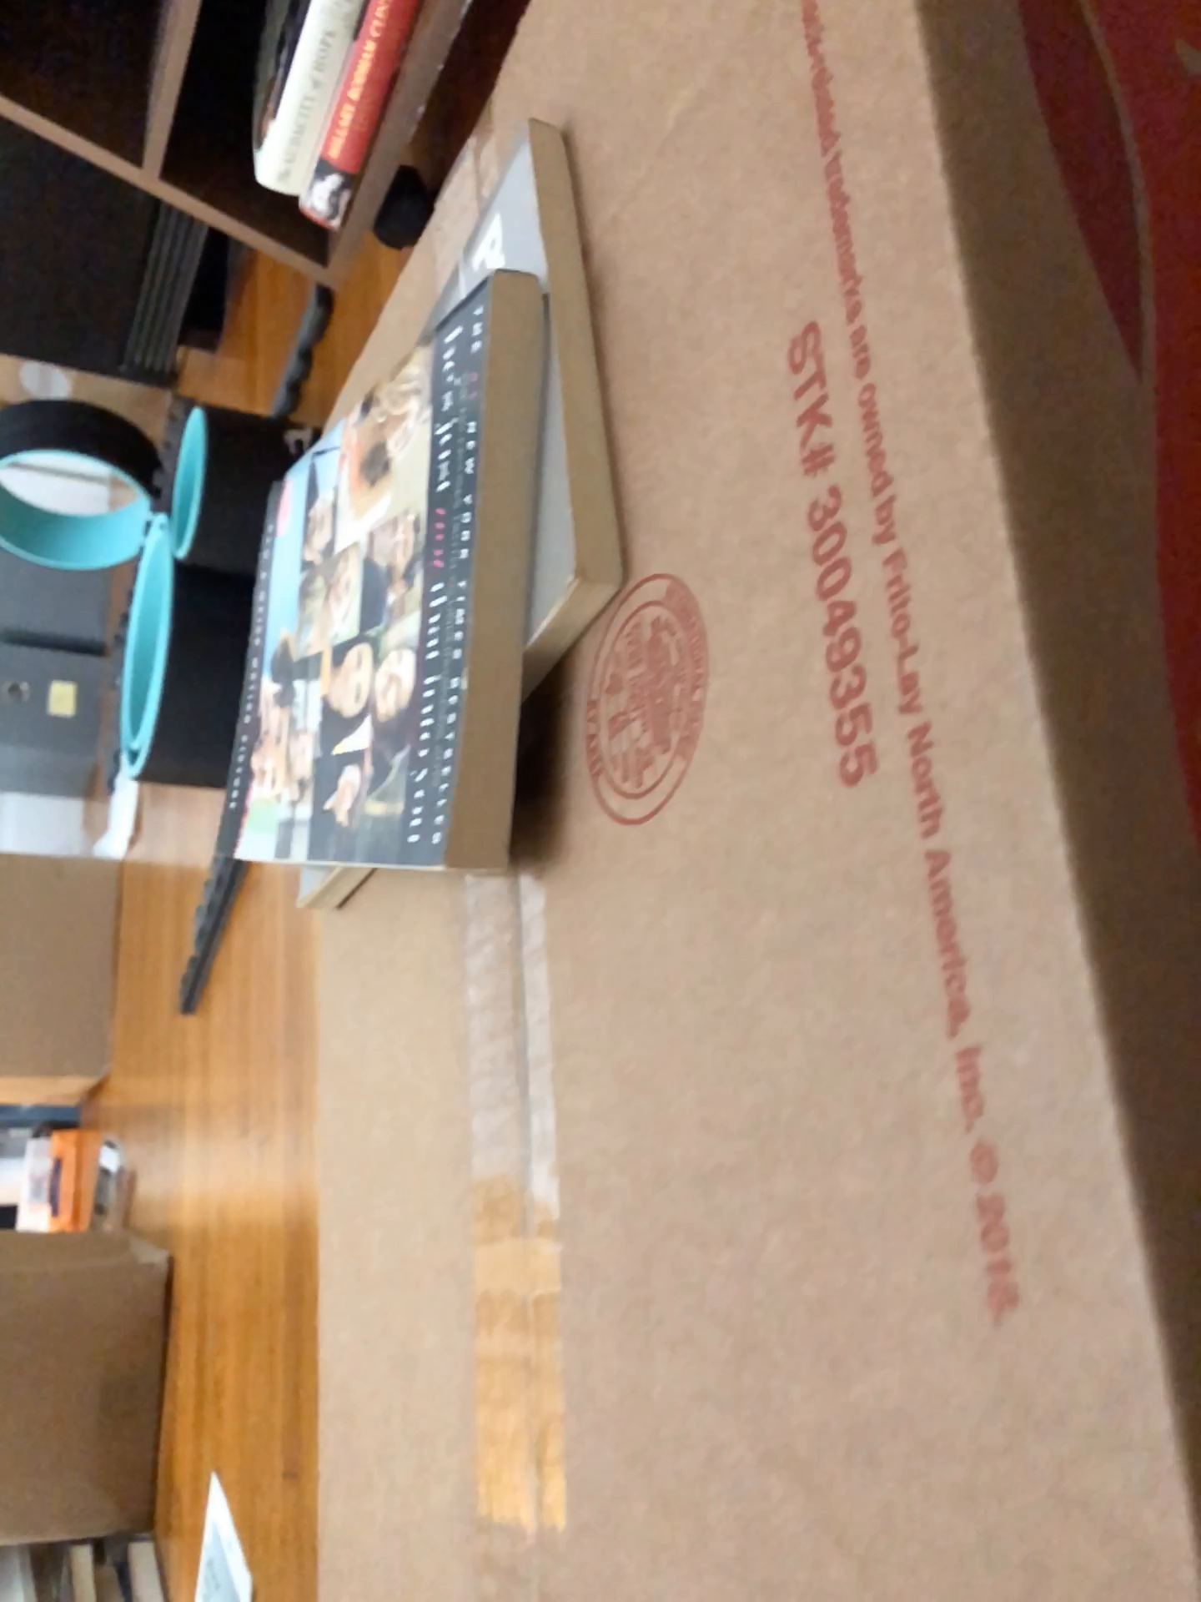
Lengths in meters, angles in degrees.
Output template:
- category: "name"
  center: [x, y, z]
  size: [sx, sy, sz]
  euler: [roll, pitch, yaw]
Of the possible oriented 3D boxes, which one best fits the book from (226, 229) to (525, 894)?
- category: "book"
  center: [-0.078, -0.050, 0.401]
  size: [0.231, 0.010, 0.150]
  euler: [-5, 80, 64]
